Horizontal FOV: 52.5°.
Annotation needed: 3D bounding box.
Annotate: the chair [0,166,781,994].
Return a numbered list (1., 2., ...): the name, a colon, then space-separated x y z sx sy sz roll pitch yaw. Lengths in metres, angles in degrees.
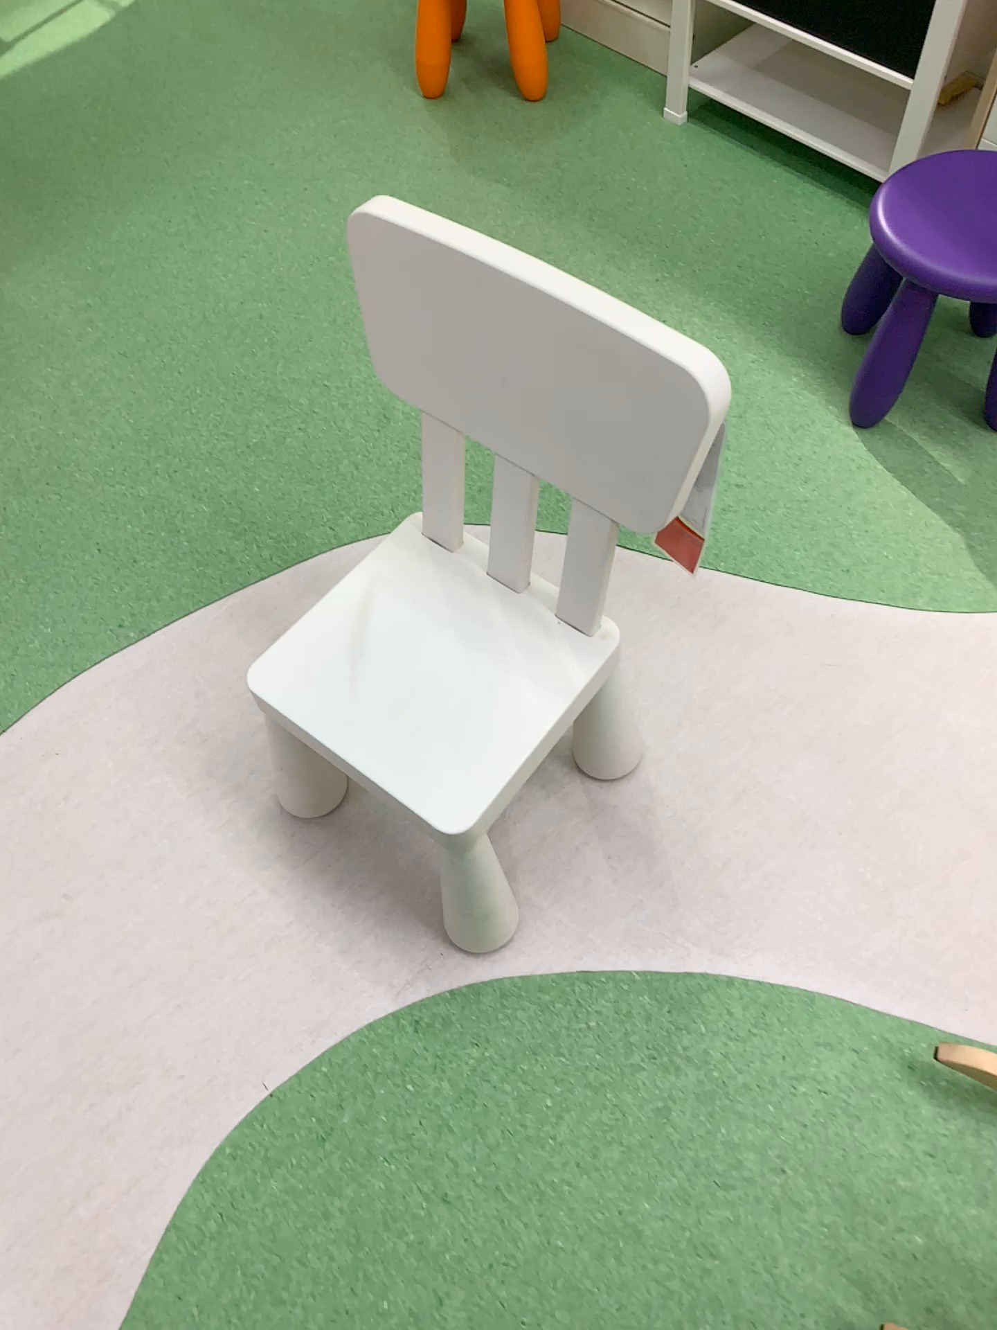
1. chair: -0.063 -0.047 1.029 0.421 0.599 0.440 34 67 22
